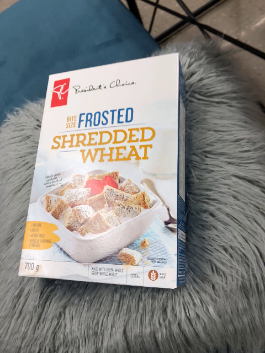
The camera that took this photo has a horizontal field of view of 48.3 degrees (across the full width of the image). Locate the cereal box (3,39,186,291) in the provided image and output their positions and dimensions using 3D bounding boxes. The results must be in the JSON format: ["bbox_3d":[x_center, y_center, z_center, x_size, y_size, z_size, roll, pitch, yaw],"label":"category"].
[{"bbox_3d":[-0.034,-0.021,0.396,0.200,0.070,0.310,-2,70,15],"label":"cereal box"}]
